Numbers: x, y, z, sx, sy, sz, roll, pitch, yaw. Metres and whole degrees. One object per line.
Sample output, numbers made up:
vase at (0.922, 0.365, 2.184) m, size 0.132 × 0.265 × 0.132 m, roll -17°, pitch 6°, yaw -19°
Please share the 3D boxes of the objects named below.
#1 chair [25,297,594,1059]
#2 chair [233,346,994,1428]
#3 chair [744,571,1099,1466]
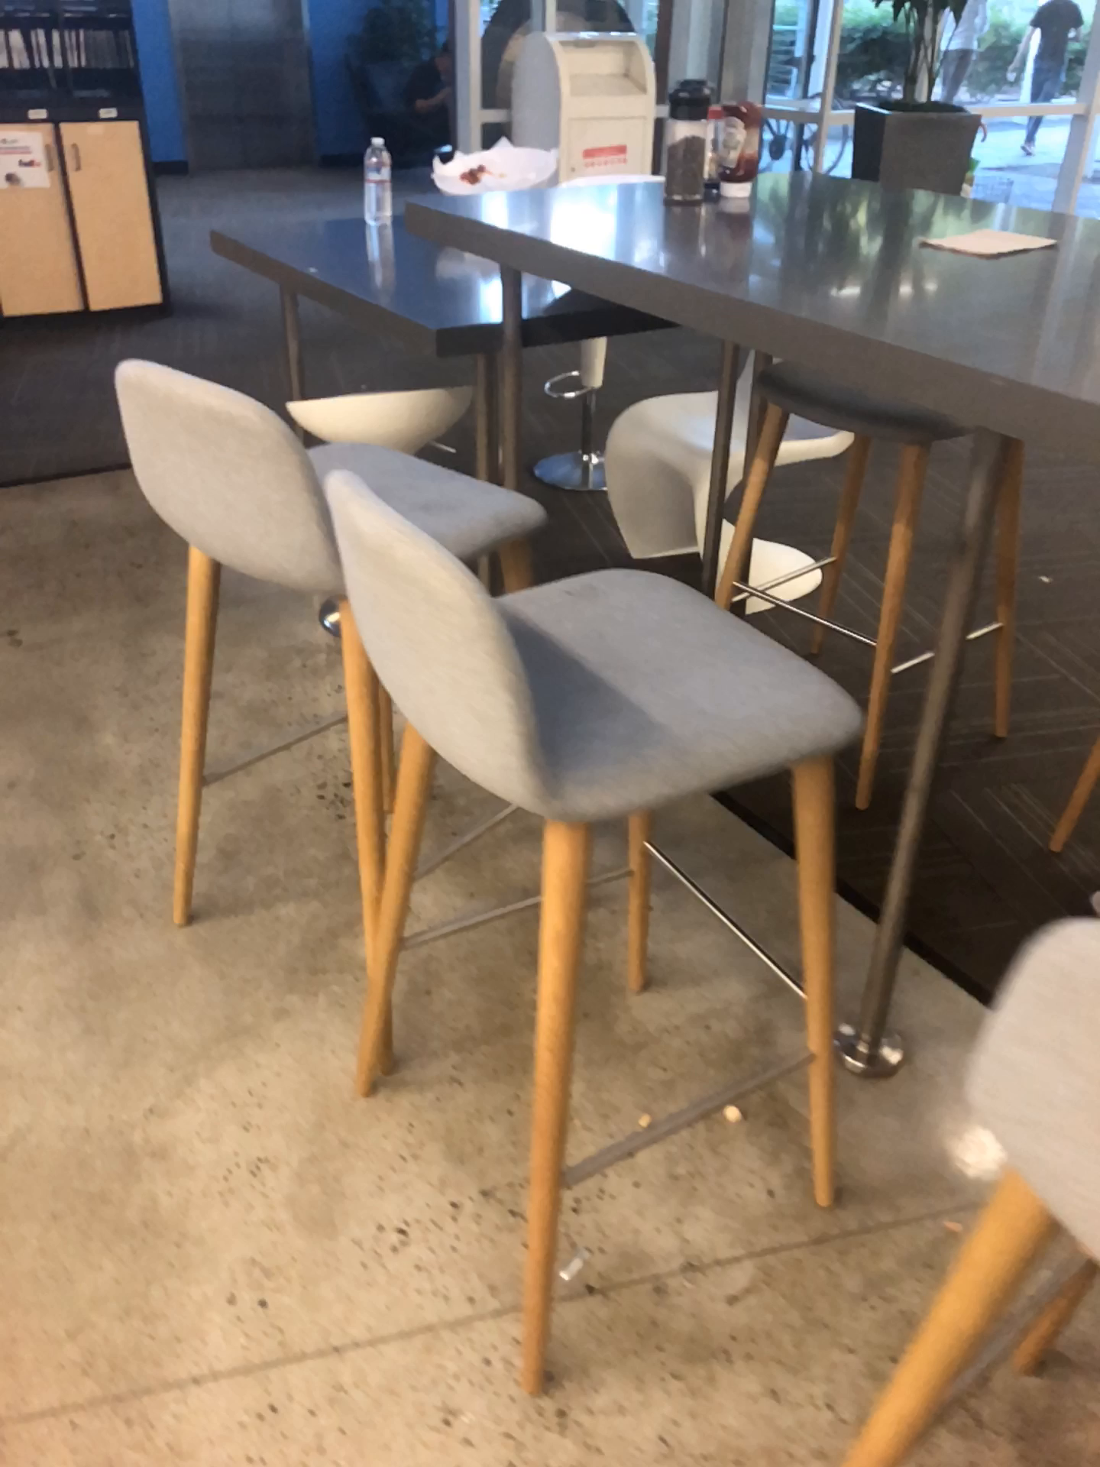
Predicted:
chair at (-0.296, -0.115, 1.766) m, size 0.490 × 0.893 × 0.514 m, roll 19°, pitch 34°, yaw 35°
chair at (0.056, 0.130, 1.380) m, size 0.543 × 0.983 × 0.501 m, roll -18°, pitch 31°, yaw -30°
chair at (0.553, 0.490, 0.852) m, size 0.501 × 0.982 × 0.543 m, roll 28°, pitch 39°, yaw 37°
